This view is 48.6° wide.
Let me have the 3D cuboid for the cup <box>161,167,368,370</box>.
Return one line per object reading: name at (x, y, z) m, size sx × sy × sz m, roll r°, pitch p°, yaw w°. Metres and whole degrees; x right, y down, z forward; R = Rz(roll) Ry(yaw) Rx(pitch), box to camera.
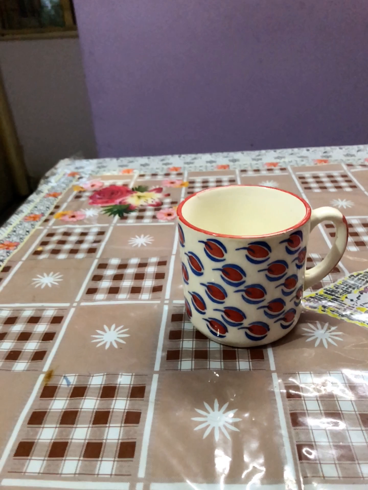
cup at (0.049, 0.009, 0.250) m, size 0.110 × 0.079 × 0.080 m, roll -8°, pitch 29°, yaw -7°
